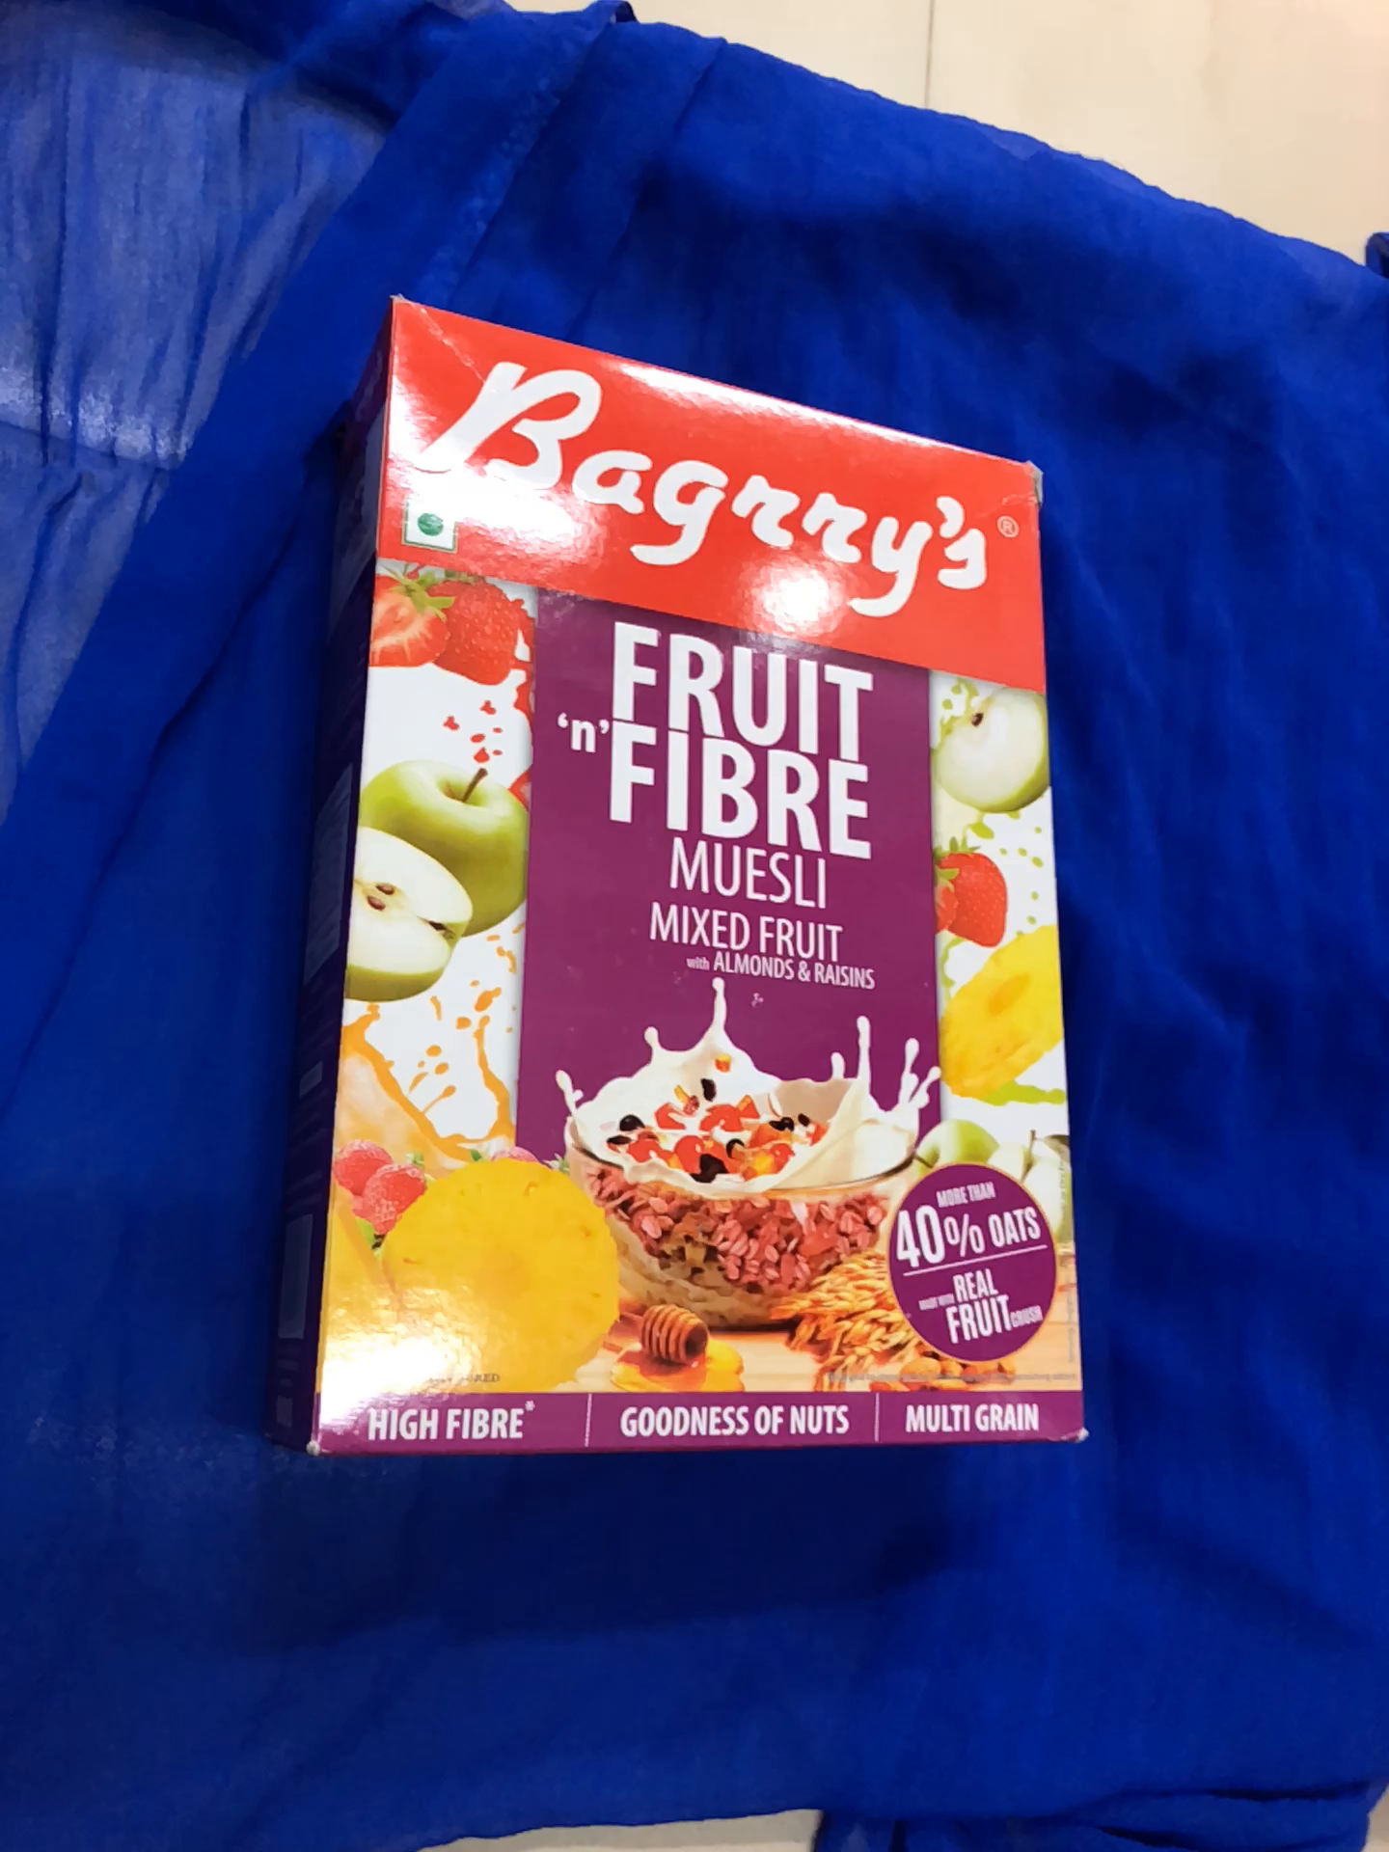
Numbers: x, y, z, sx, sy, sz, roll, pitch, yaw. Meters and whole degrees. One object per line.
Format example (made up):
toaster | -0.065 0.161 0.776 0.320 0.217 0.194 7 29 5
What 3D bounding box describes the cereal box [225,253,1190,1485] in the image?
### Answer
cereal box | 0.006 -0.004 0.375 0.200 0.080 0.250 7 75 -23
